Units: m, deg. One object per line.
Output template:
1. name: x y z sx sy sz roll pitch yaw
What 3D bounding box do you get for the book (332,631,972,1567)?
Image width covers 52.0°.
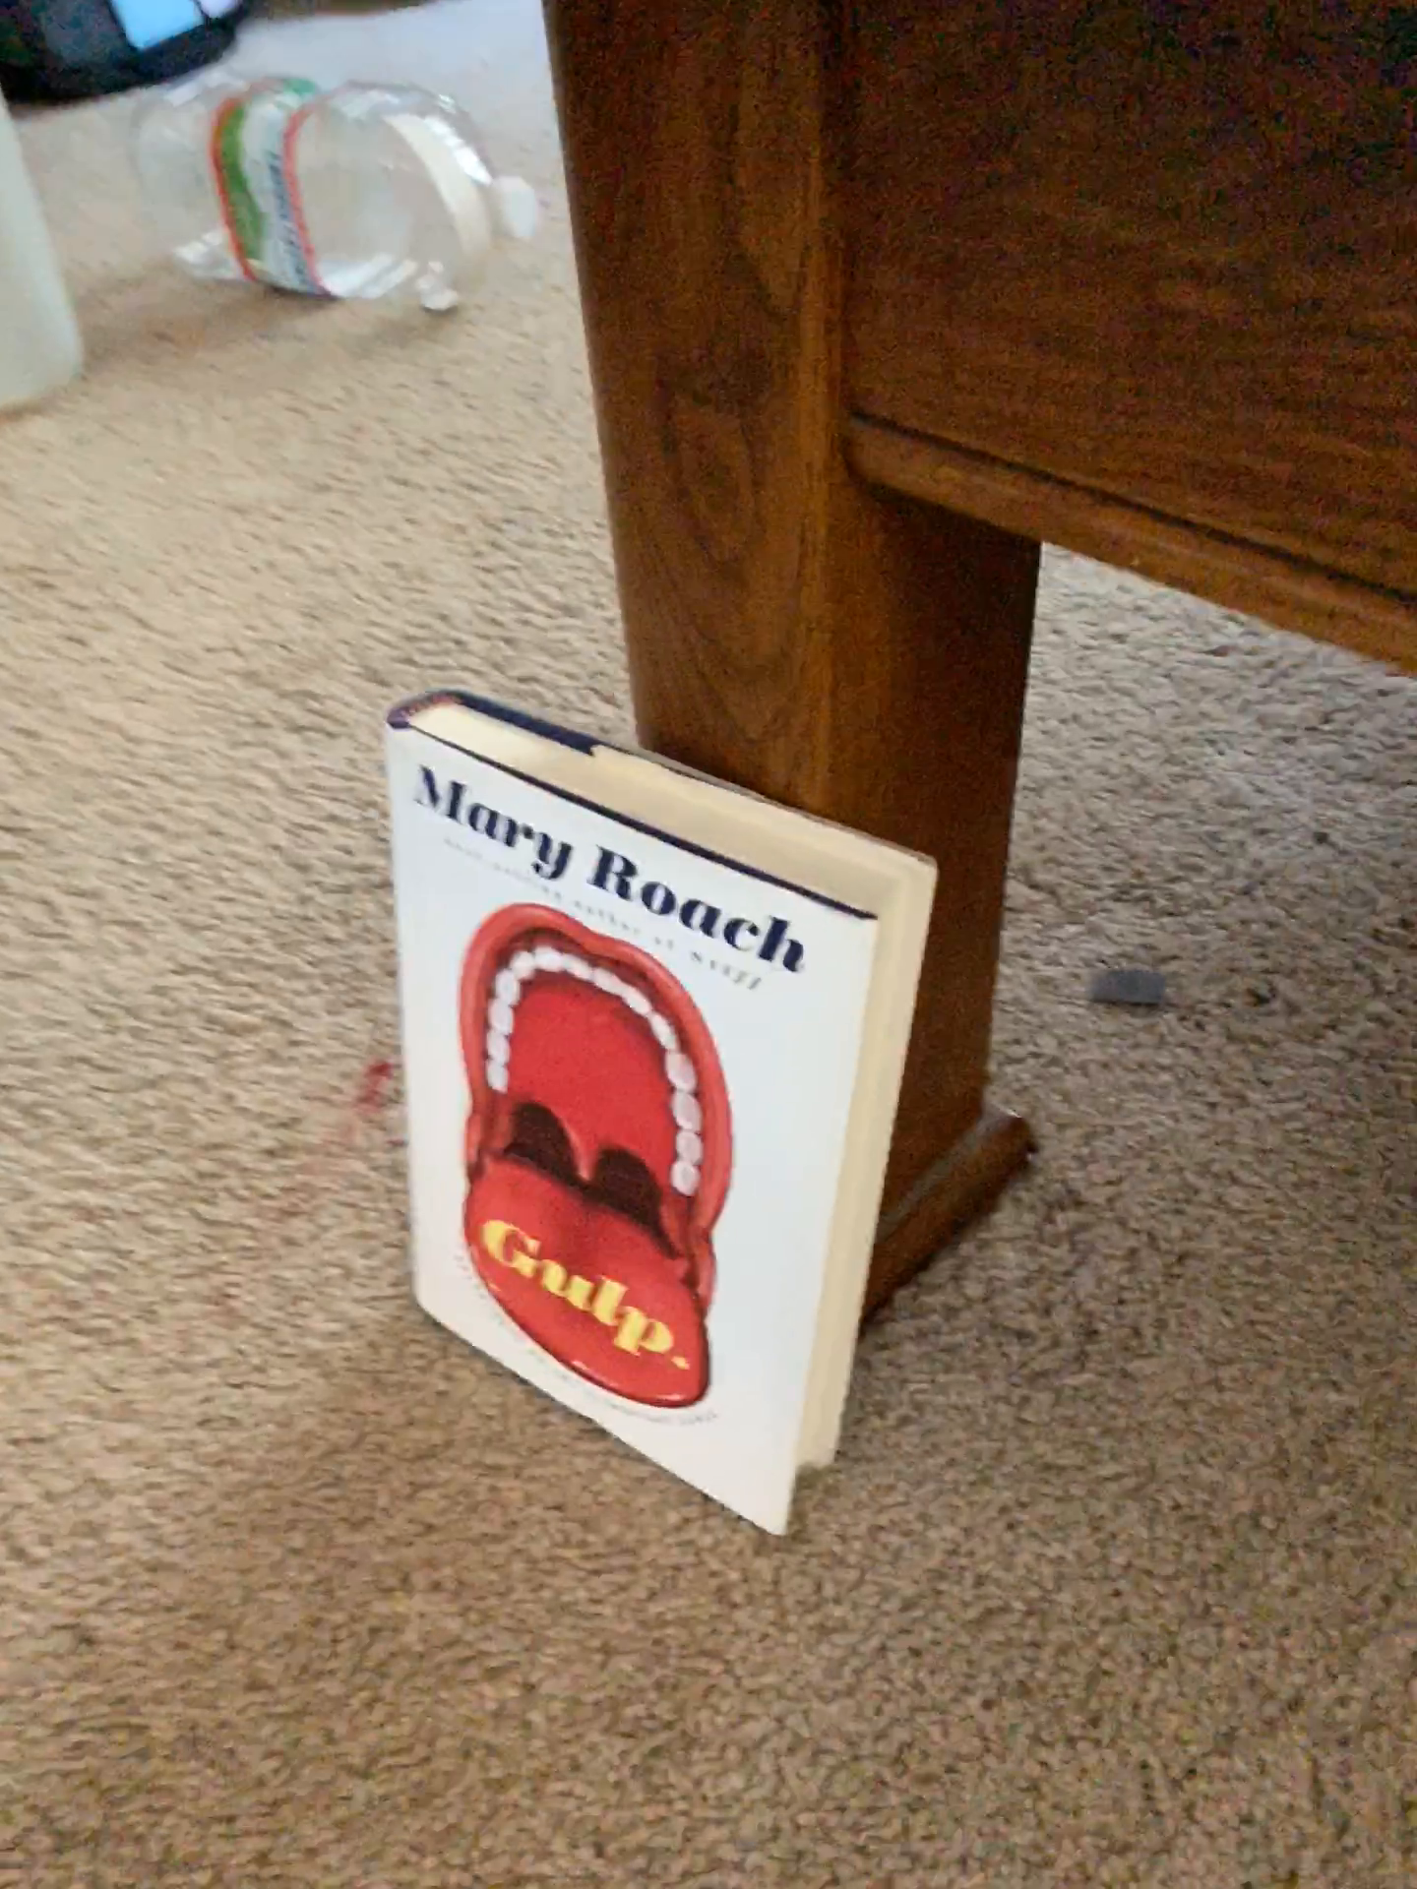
1. book: -0.026 0.048 0.408 0.161 0.229 0.040 24 39 27
